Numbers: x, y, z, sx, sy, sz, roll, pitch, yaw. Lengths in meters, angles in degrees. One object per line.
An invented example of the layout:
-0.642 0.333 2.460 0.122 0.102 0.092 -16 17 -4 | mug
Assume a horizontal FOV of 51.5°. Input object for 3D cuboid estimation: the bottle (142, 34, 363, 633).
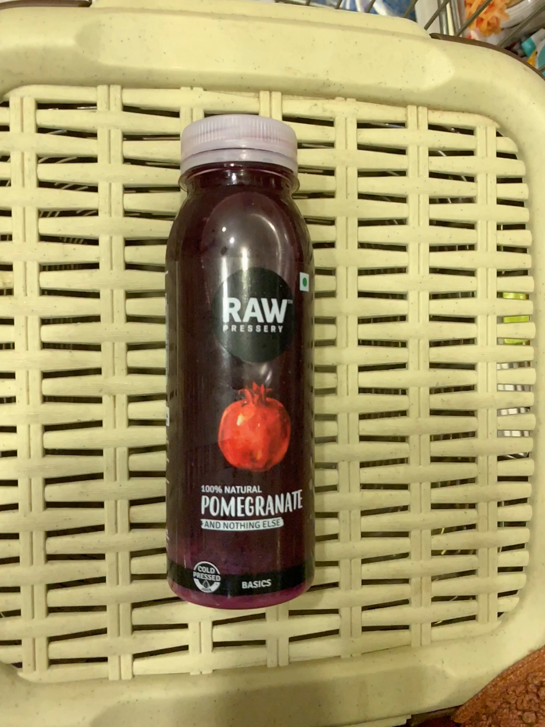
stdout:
-0.010 -0.007 0.182 0.060 0.050 0.160 1 92 -12 | bottle
